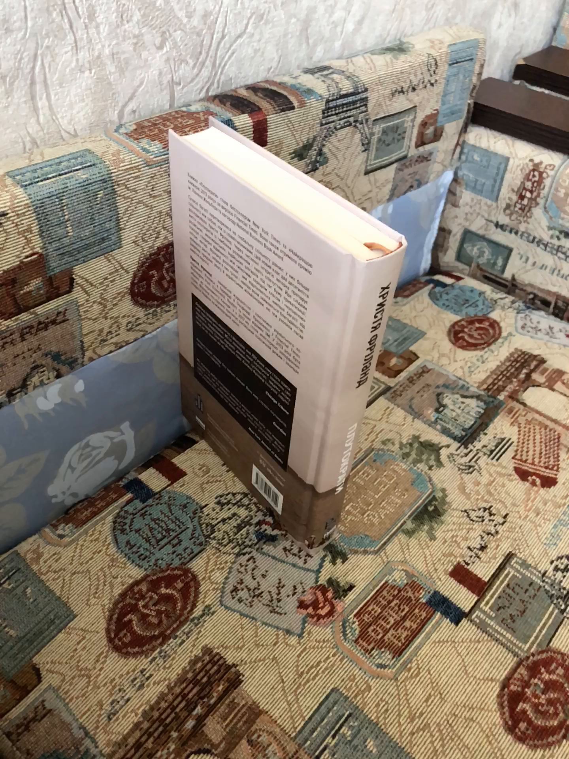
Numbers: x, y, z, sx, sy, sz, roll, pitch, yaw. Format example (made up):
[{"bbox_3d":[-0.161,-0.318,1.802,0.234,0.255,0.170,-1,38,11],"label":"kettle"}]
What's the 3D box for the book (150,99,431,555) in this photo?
[{"bbox_3d":[-0.013,-0.025,0.378,0.040,0.219,0.171,-26,51,-29],"label":"book"}]
